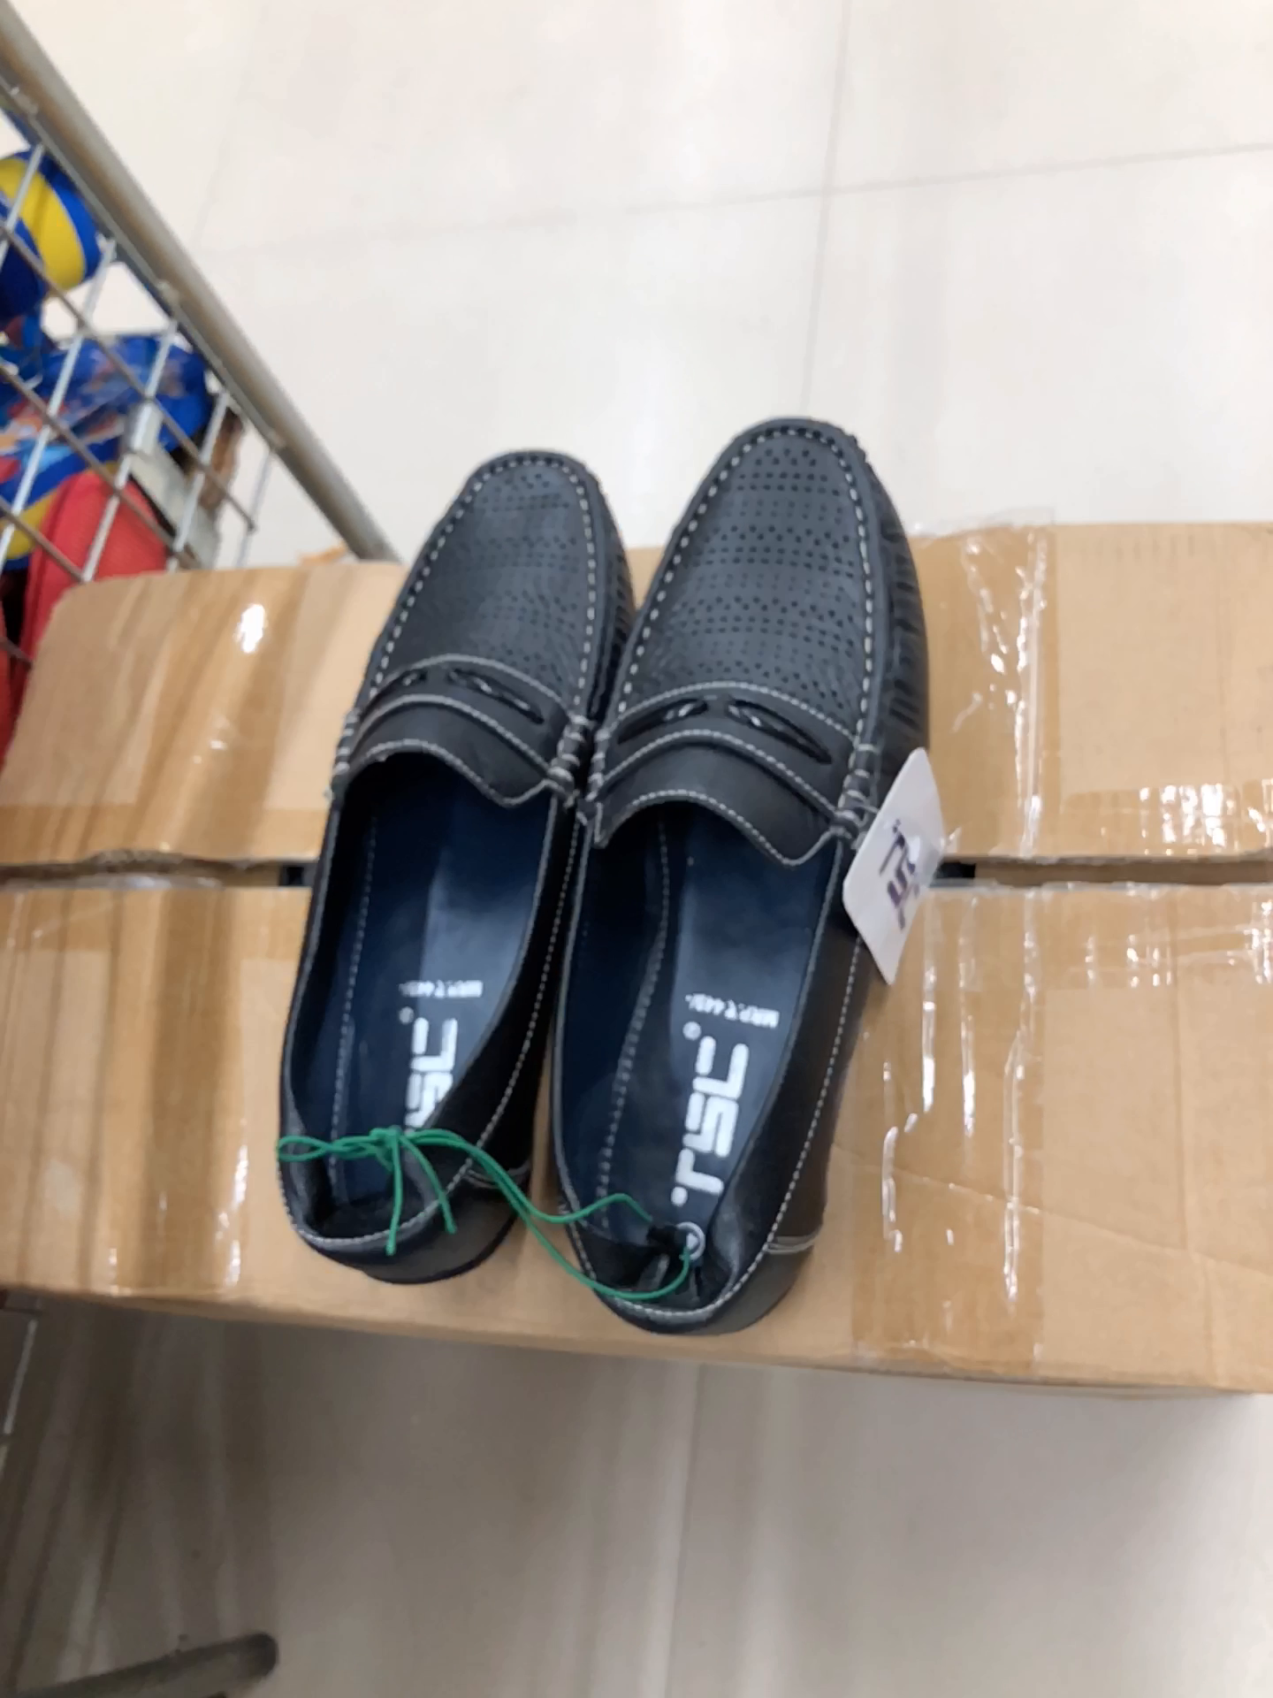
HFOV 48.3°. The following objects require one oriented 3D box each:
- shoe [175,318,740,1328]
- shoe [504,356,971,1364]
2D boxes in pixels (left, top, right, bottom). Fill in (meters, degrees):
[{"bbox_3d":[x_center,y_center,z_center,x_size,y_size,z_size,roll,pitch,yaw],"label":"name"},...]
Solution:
[{"bbox_3d":[-0.043,-0.015,0.465,0.100,0.090,0.311,3,69,17],"label":"shoe"},{"bbox_3d":[0.046,-0.004,0.468,0.100,0.090,0.311,3,69,17],"label":"shoe"}]
